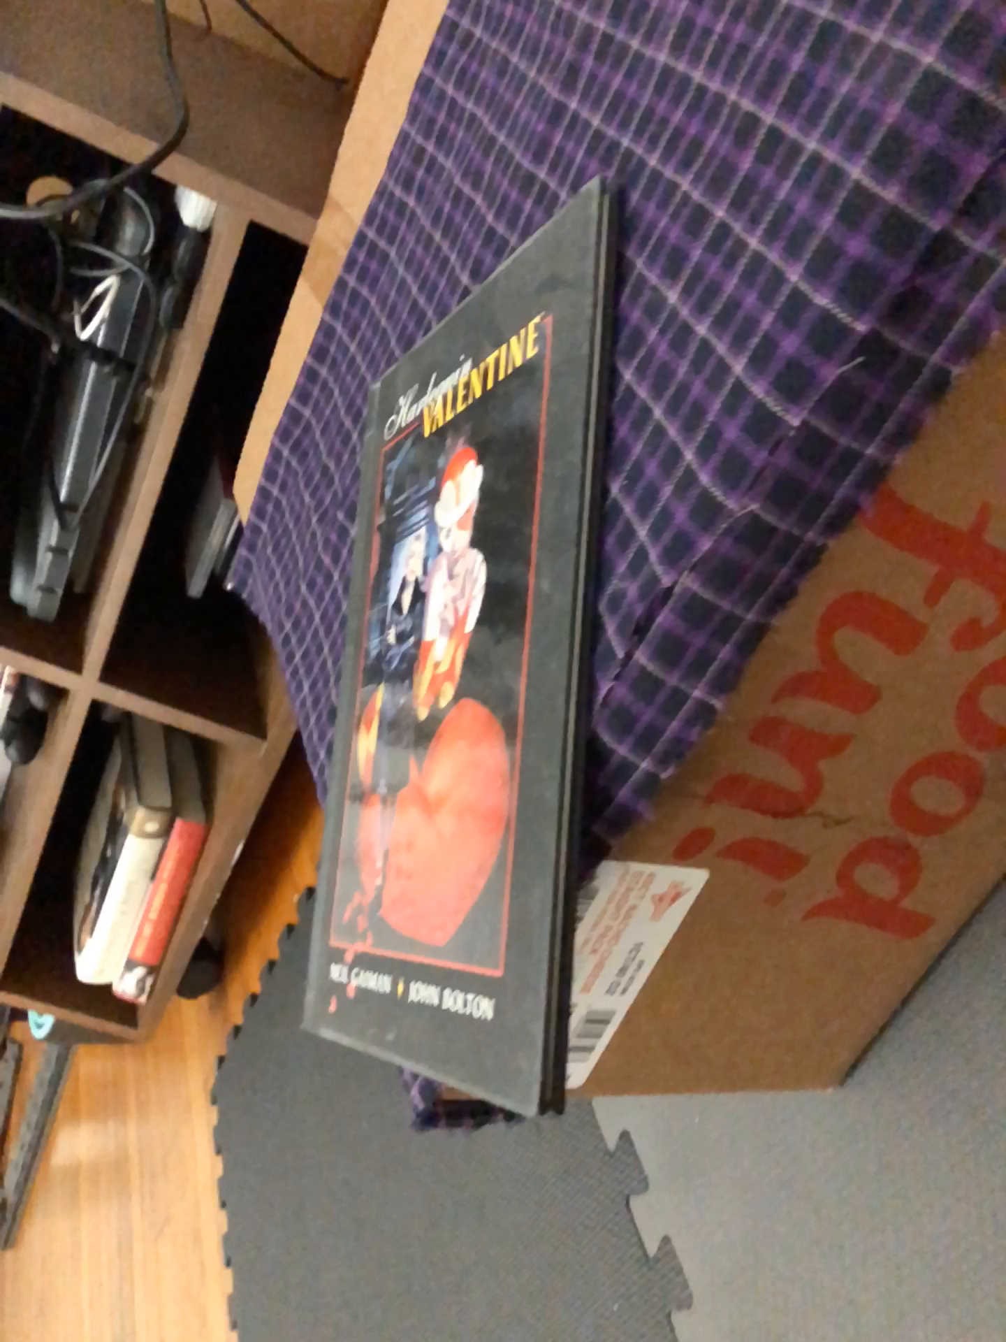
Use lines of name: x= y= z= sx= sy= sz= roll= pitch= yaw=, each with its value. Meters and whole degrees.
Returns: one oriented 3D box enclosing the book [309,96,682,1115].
book: x=-0.009 y=-0.016 z=0.375 sx=0.181 sy=0.020 sz=0.280 roll=-18 pitch=64 yaw=59
